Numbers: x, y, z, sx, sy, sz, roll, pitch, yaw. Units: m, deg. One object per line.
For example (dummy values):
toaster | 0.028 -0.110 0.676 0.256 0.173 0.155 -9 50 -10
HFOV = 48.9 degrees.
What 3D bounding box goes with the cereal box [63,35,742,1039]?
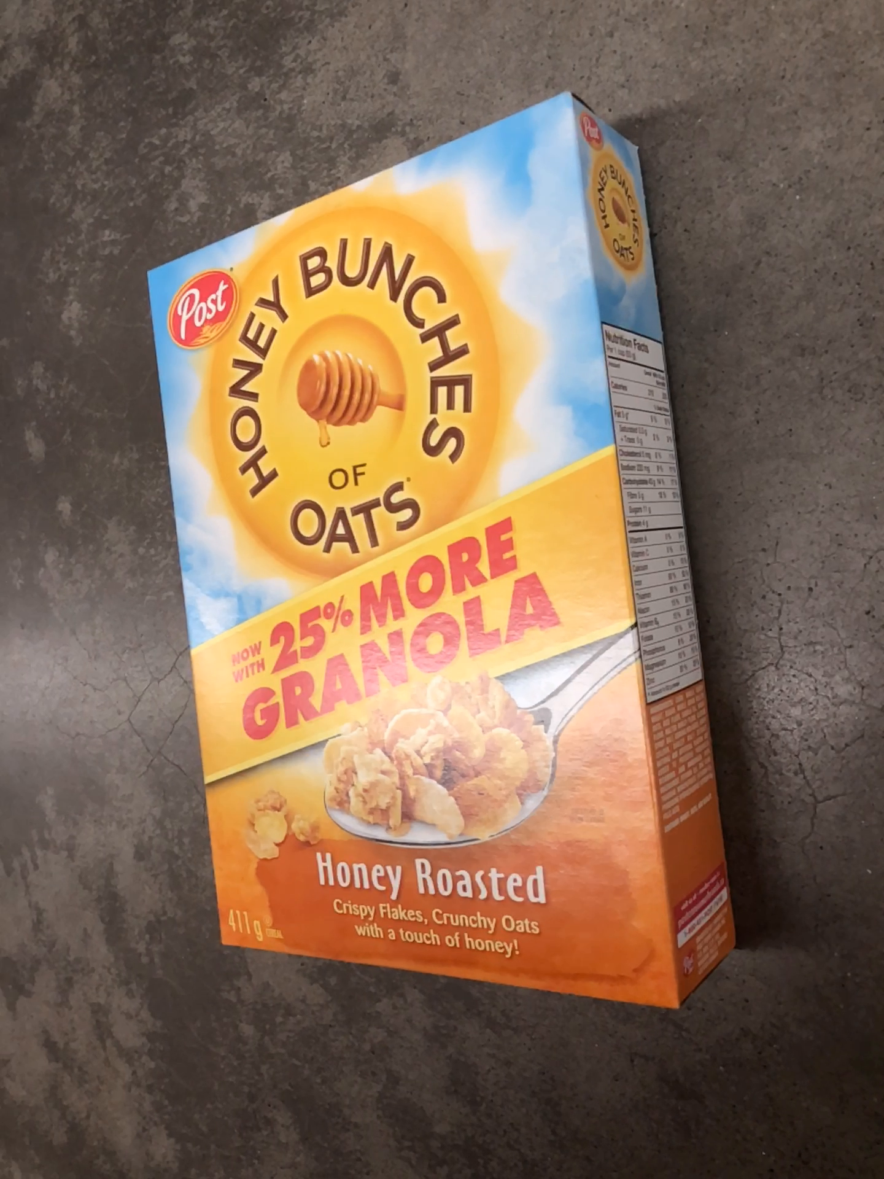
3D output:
cereal box | -0.021 -0.006 0.349 0.211 0.060 0.280 -5 94 31
